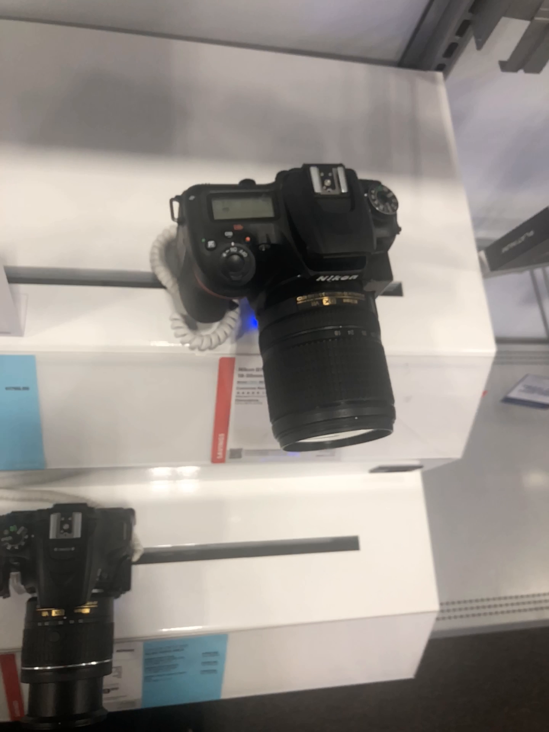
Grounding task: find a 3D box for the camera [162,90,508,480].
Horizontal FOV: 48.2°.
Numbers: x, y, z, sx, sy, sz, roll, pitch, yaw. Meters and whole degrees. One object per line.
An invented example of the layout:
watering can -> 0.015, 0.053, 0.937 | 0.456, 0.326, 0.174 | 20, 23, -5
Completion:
camera -> 0.018, -0.044, 0.373 | 0.150, 0.120, 0.190 | -4, 71, -14
